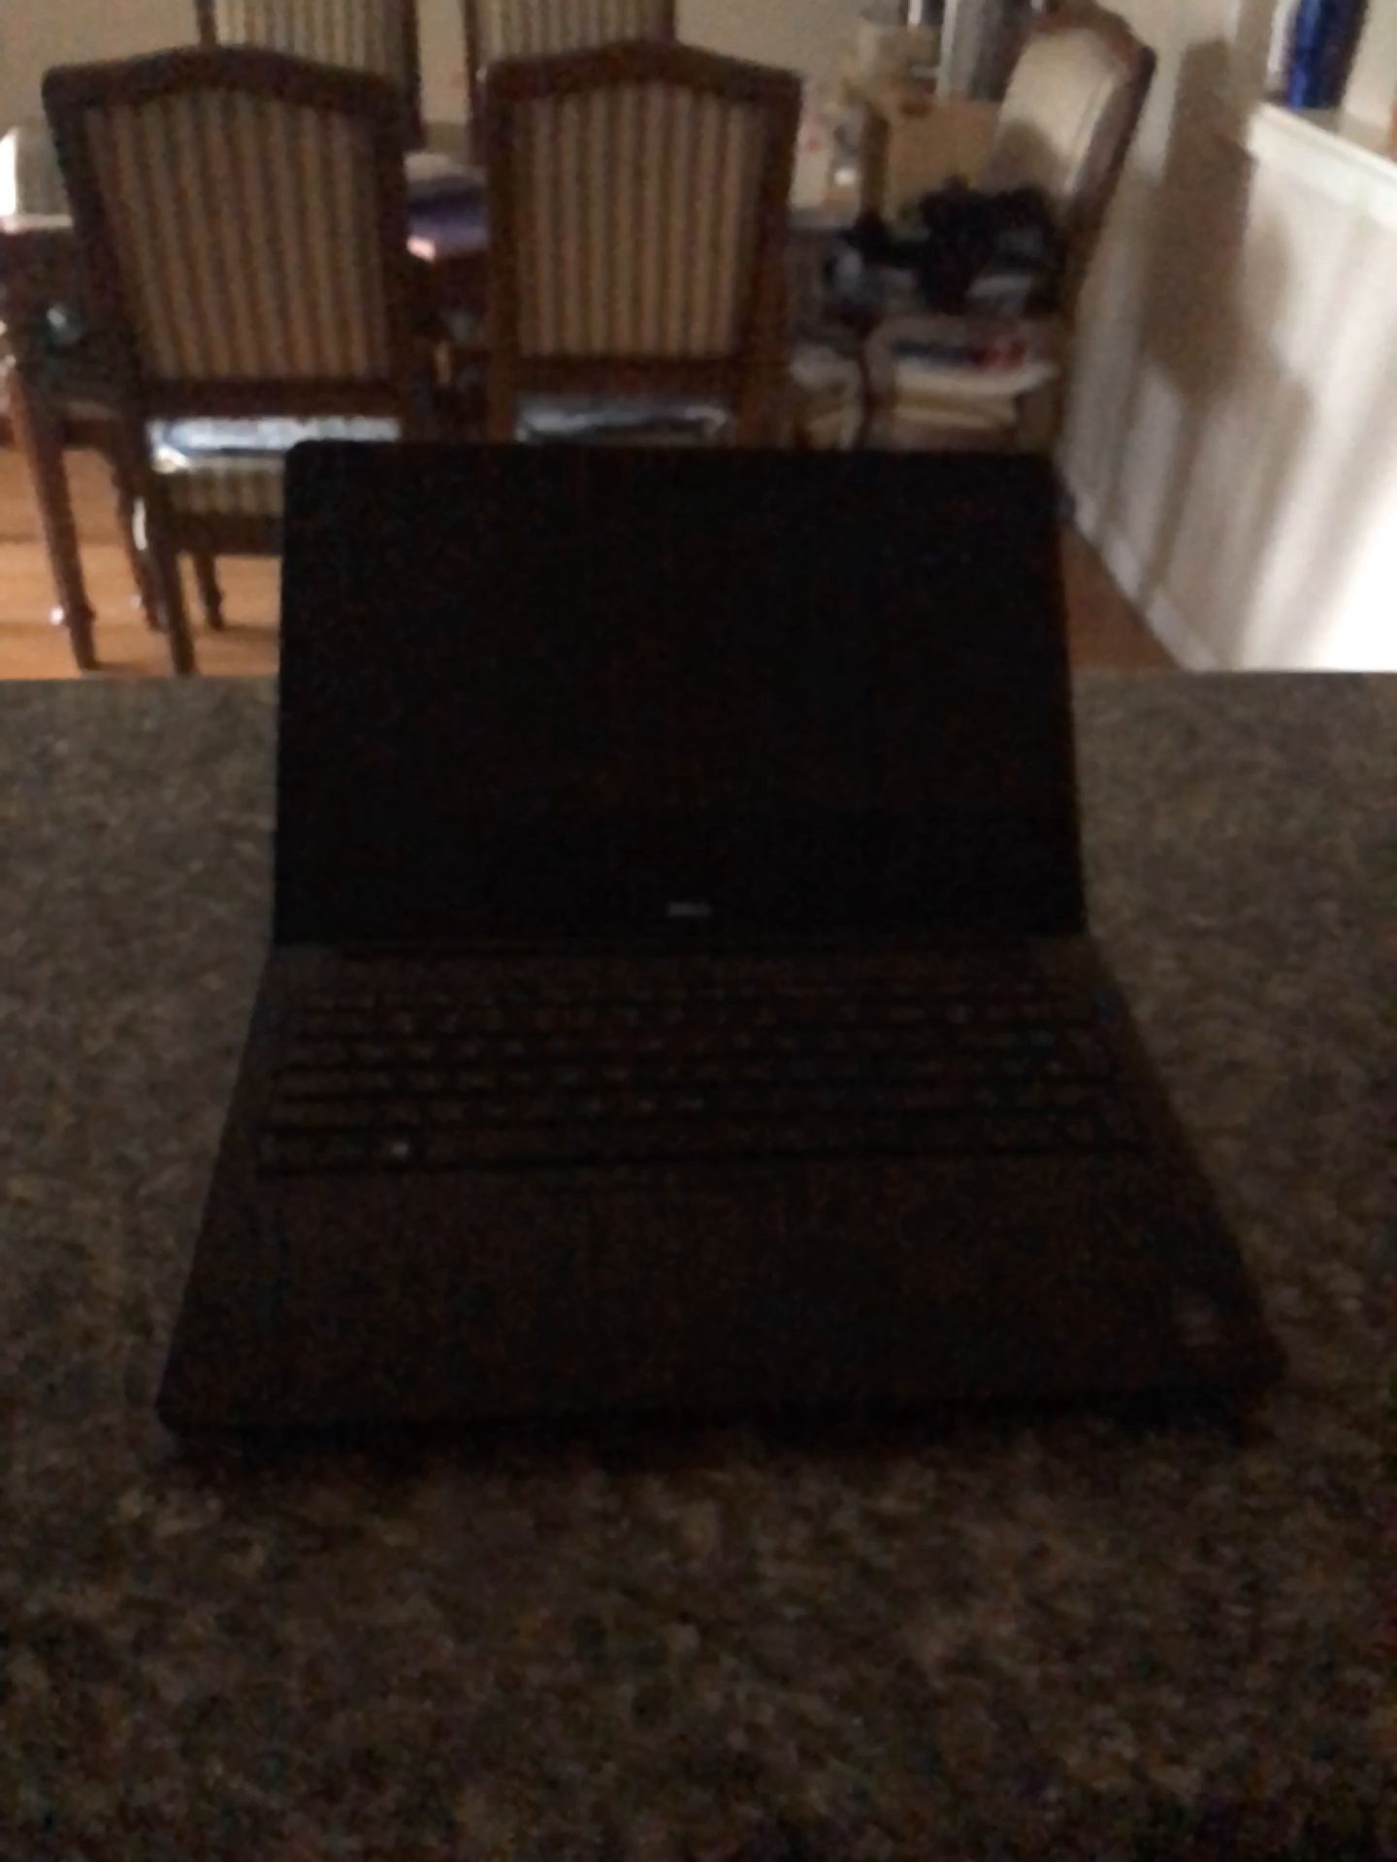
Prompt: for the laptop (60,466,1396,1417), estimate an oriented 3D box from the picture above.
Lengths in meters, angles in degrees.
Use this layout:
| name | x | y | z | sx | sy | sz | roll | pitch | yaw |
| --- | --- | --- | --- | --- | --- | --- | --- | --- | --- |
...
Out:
| name | x | y | z | sx | sy | sz | roll | pitch | yaw |
| --- | --- | --- | --- | --- | --- | --- | --- | --- | --- |
| laptop | 0.001 | -0.035 | 0.623 | 0.361 | 0.158 | 0.416 | -1 | 36 | -5 |
